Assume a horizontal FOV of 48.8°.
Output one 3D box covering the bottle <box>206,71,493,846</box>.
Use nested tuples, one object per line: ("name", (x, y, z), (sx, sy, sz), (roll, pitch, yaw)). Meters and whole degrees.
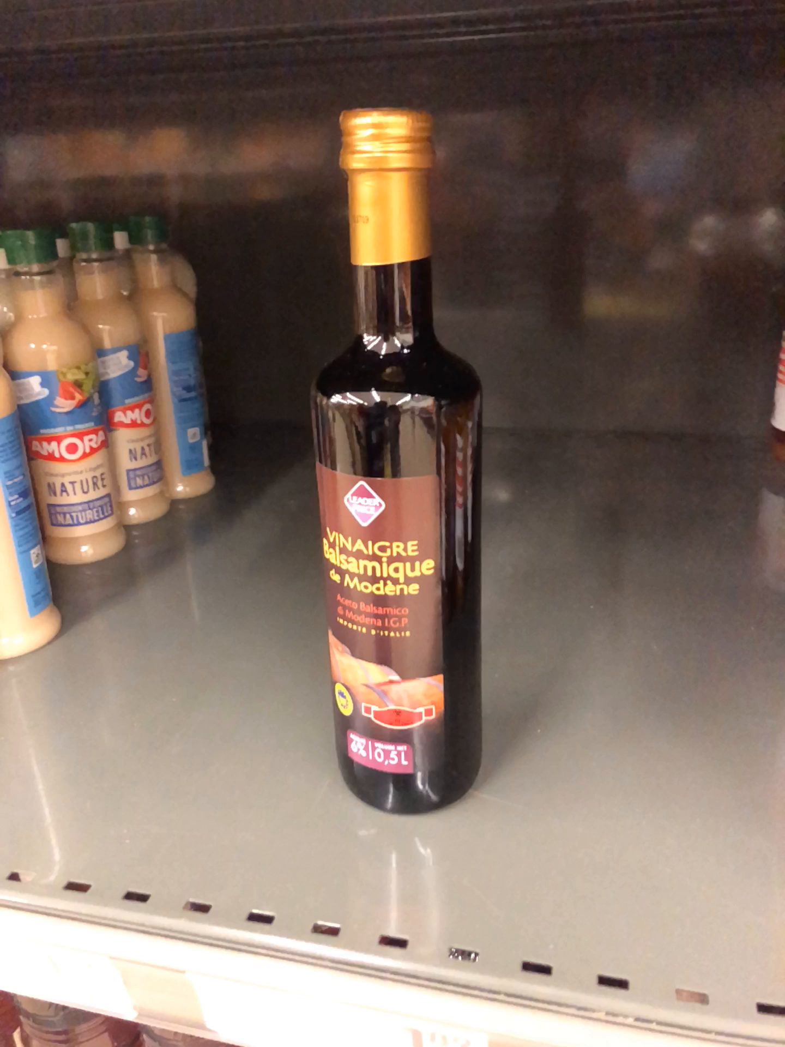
("bottle", (-0.007, -0.016, 0.329), (0.070, 0.269, 0.070), (-2, 22, 1))
